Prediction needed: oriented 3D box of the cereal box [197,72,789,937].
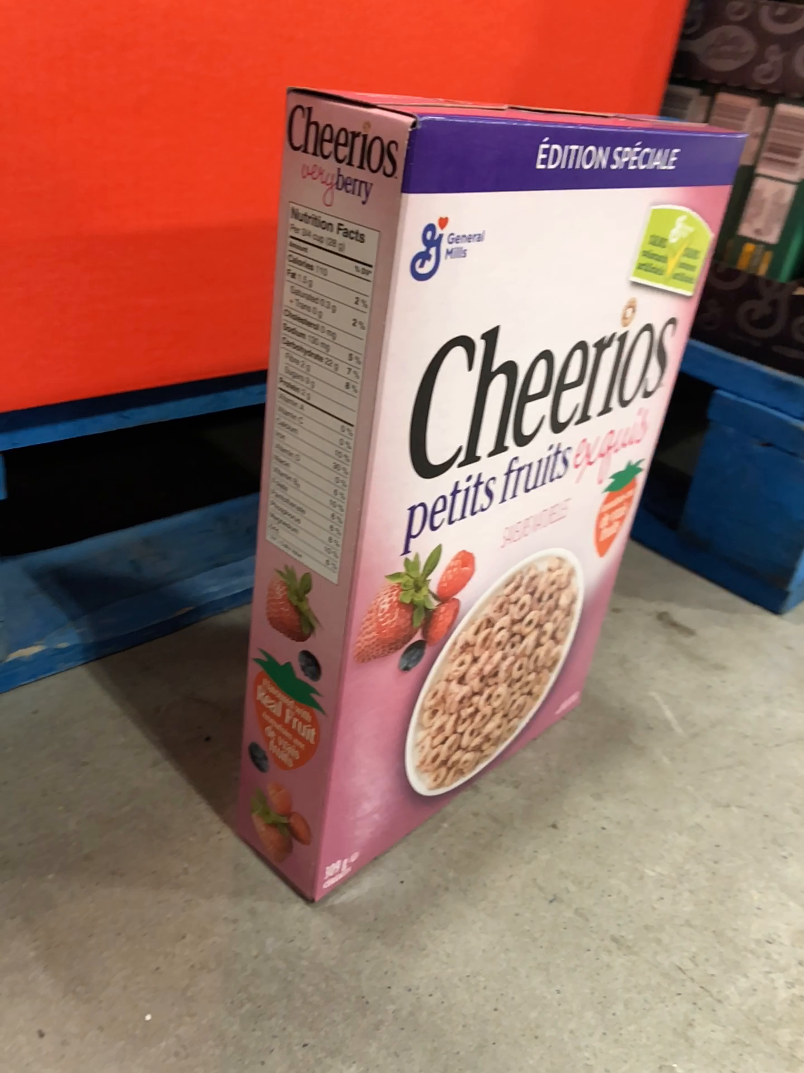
[{"bbox_3d":[0.033,-0.016,0.355,0.060,0.279,0.221,31,35,33],"label":"cereal box"}]
